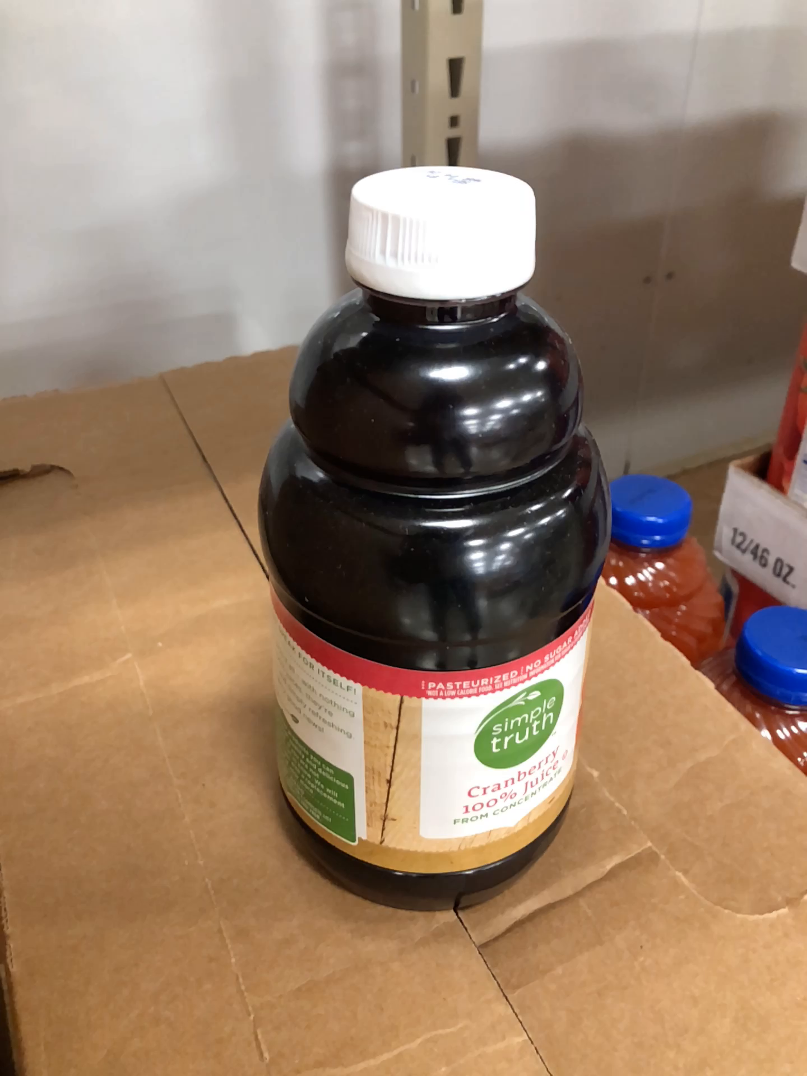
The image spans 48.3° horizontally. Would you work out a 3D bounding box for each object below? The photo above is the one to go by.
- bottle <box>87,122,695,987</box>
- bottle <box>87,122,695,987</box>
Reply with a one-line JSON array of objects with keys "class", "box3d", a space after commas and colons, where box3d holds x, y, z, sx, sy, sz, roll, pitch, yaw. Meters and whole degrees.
[{"class": "bottle", "box3d": [0.007, 0.006, 0.252, 0.100, 0.199, 0.110, 11, 37, 15]}, {"class": "bottle", "box3d": [0.007, 0.006, 0.252, 0.100, 0.199, 0.110, 11, 37, 15]}]
